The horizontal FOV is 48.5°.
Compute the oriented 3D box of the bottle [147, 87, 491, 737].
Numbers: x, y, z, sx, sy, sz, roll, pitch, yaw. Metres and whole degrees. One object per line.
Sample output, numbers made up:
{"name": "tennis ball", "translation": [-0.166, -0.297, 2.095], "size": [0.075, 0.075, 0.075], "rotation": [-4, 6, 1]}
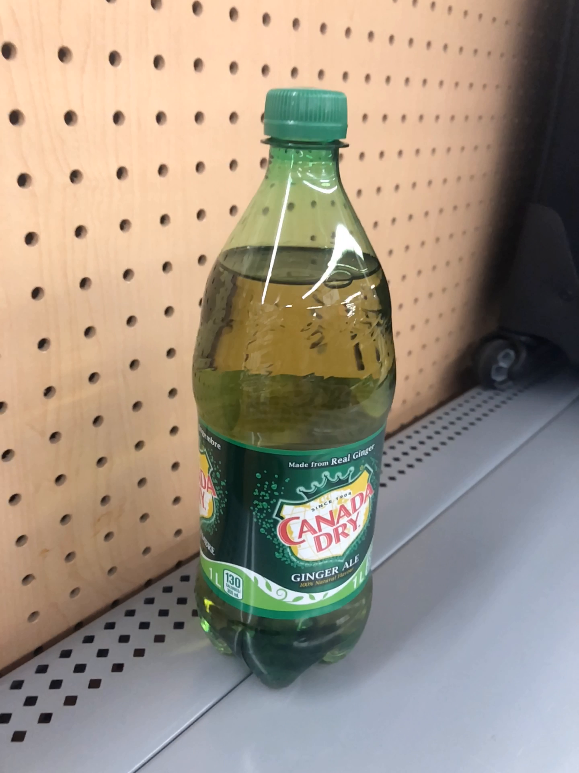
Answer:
{"name": "bottle", "translation": [0.001, 0.010, 0.278], "size": [0.090, 0.248, 0.090], "rotation": [2, 23, -1]}
